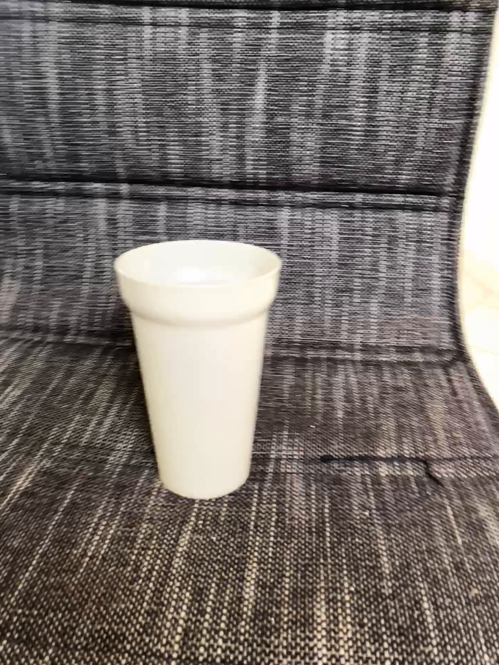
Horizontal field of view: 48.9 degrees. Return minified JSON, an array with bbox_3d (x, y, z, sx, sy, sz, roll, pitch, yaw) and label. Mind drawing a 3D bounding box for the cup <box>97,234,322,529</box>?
[{"bbox_3d":[-0.023,0.018,0.278,0.080,0.109,0.080,1,26,-1],"label":"cup"}]
